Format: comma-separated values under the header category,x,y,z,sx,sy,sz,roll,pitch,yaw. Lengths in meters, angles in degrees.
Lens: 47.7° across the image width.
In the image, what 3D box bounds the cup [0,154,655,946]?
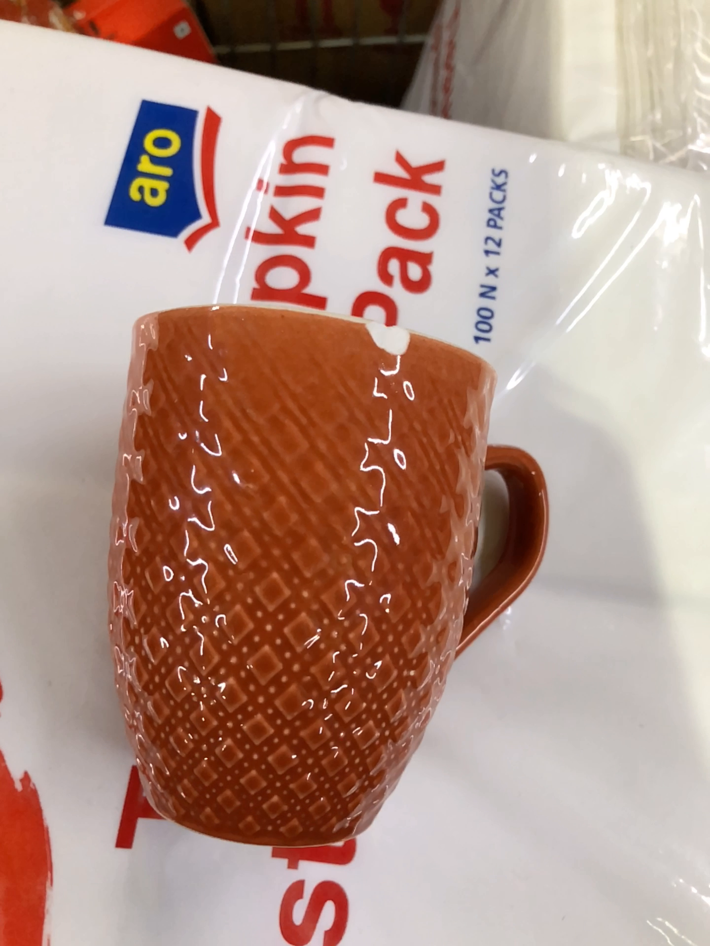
category,x,y,z,sx,sy,sz,roll,pitch,yaw
cup,-0.003,0.019,0.144,0.070,0.100,0.090,-3,75,42
